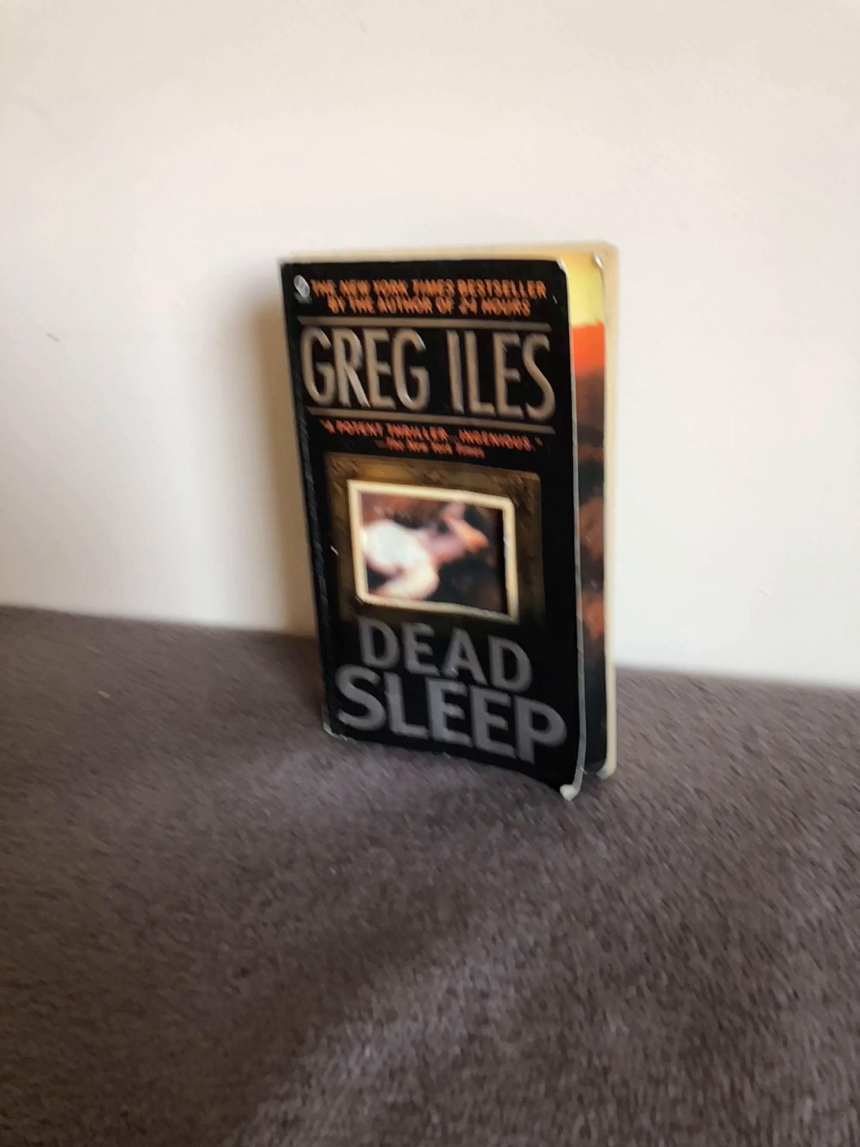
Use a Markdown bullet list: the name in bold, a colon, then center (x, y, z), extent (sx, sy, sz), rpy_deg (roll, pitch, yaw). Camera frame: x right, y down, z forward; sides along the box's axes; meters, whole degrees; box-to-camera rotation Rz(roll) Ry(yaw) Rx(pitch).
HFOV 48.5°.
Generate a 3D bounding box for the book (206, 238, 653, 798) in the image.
- **book**: center (0.006, -0.022, 0.320), extent (0.123, 0.163, 0.061), rpy_deg (5, 23, 22)
